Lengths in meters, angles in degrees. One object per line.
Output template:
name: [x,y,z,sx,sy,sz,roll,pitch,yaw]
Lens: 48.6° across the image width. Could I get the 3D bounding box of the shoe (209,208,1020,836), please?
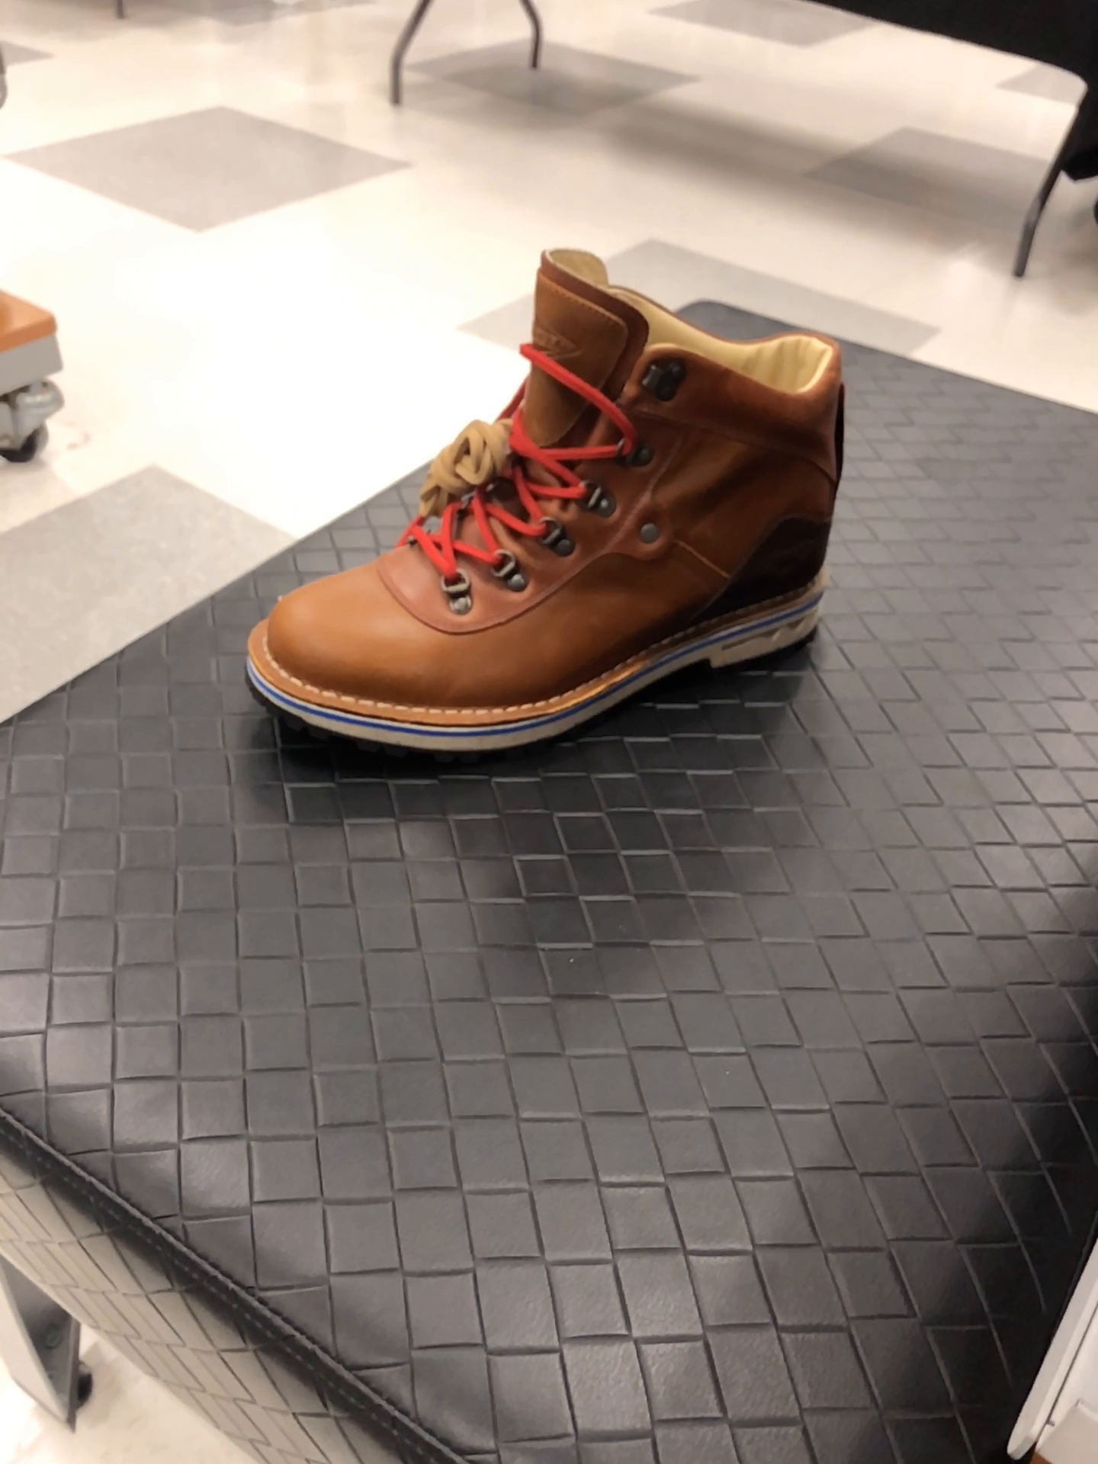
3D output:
shoe: [0.026,-0.103,0.532,0.298,0.180,0.122,-17,45,-24]
